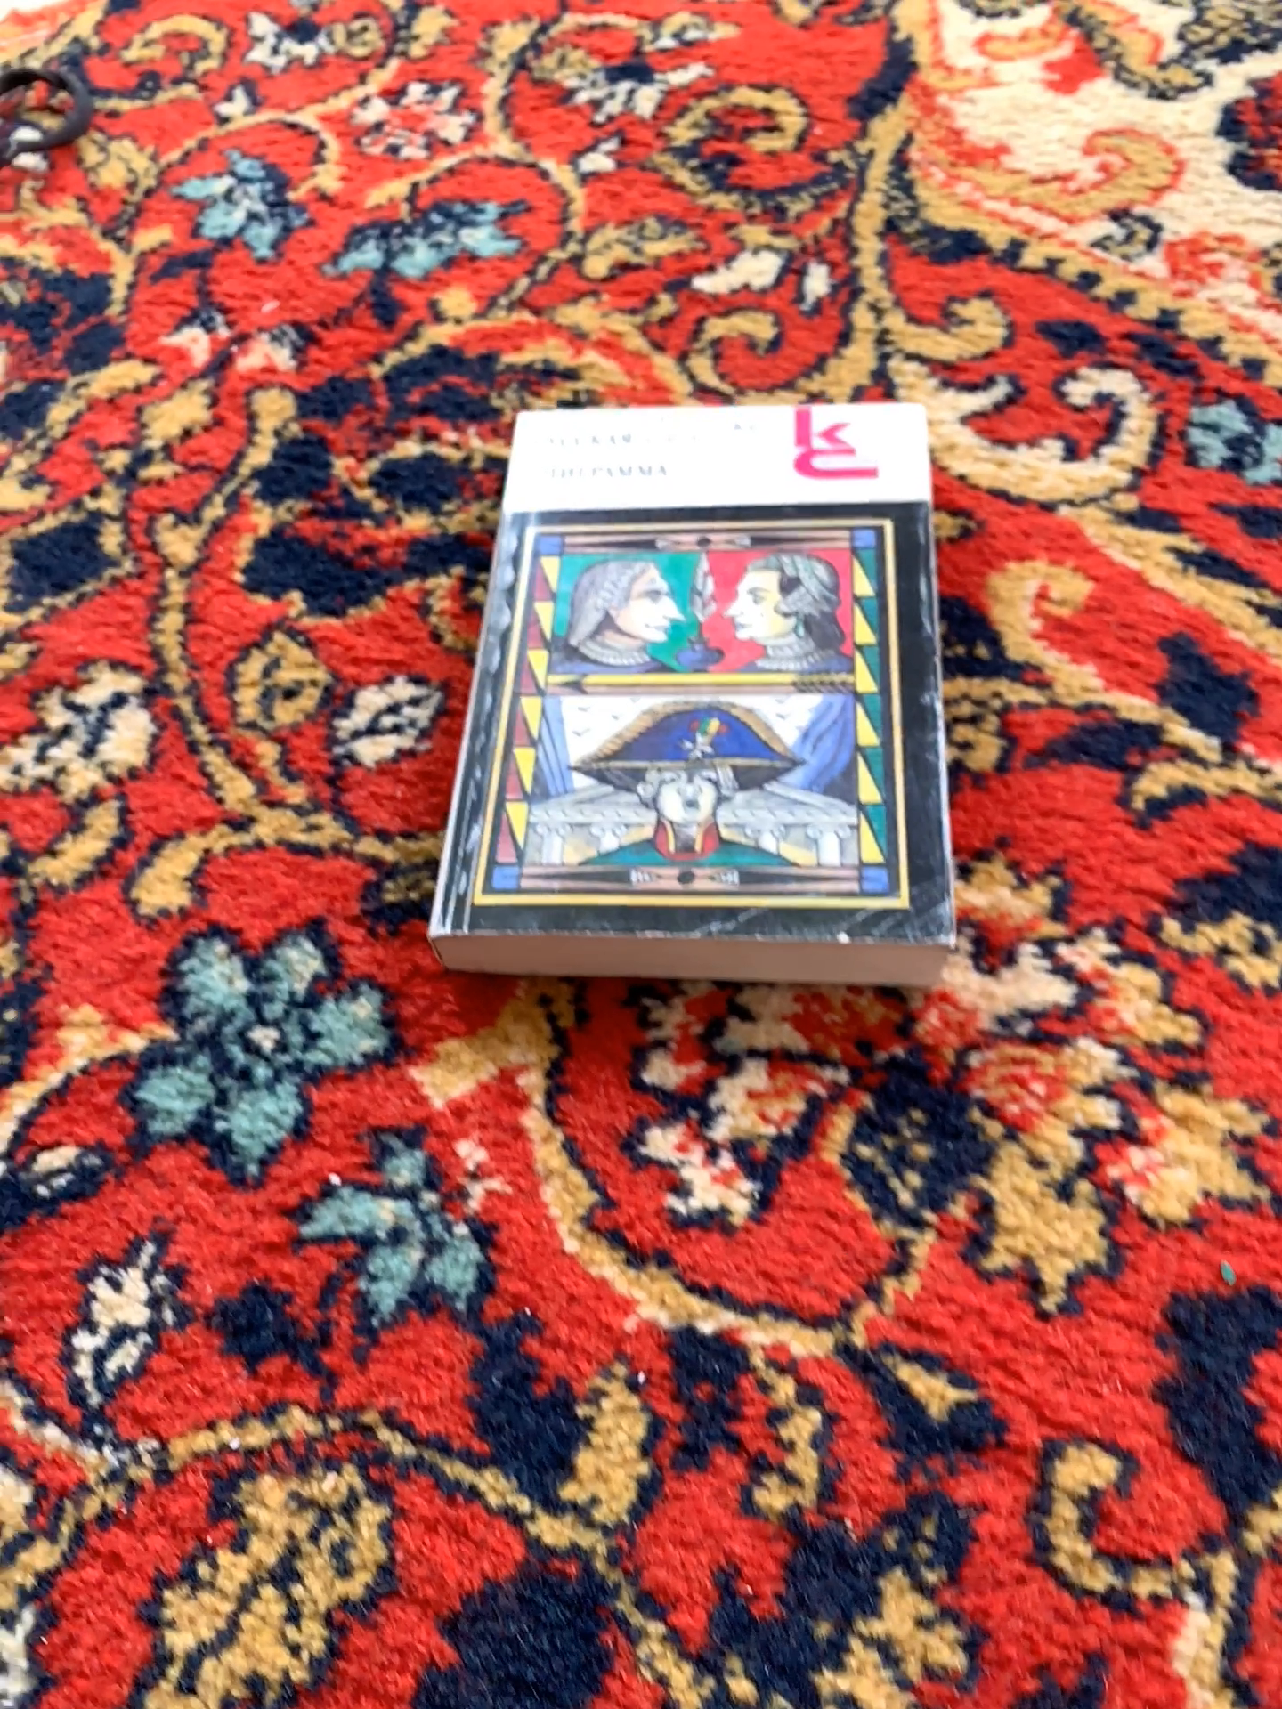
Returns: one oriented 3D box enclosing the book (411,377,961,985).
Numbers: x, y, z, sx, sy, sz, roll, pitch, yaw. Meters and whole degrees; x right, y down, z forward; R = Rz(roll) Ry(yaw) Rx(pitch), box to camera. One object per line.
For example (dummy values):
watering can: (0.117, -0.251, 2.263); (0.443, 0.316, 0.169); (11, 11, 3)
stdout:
book: (0.015, -0.049, 0.318); (0.110, 0.022, 0.164); (1, 58, 8)
